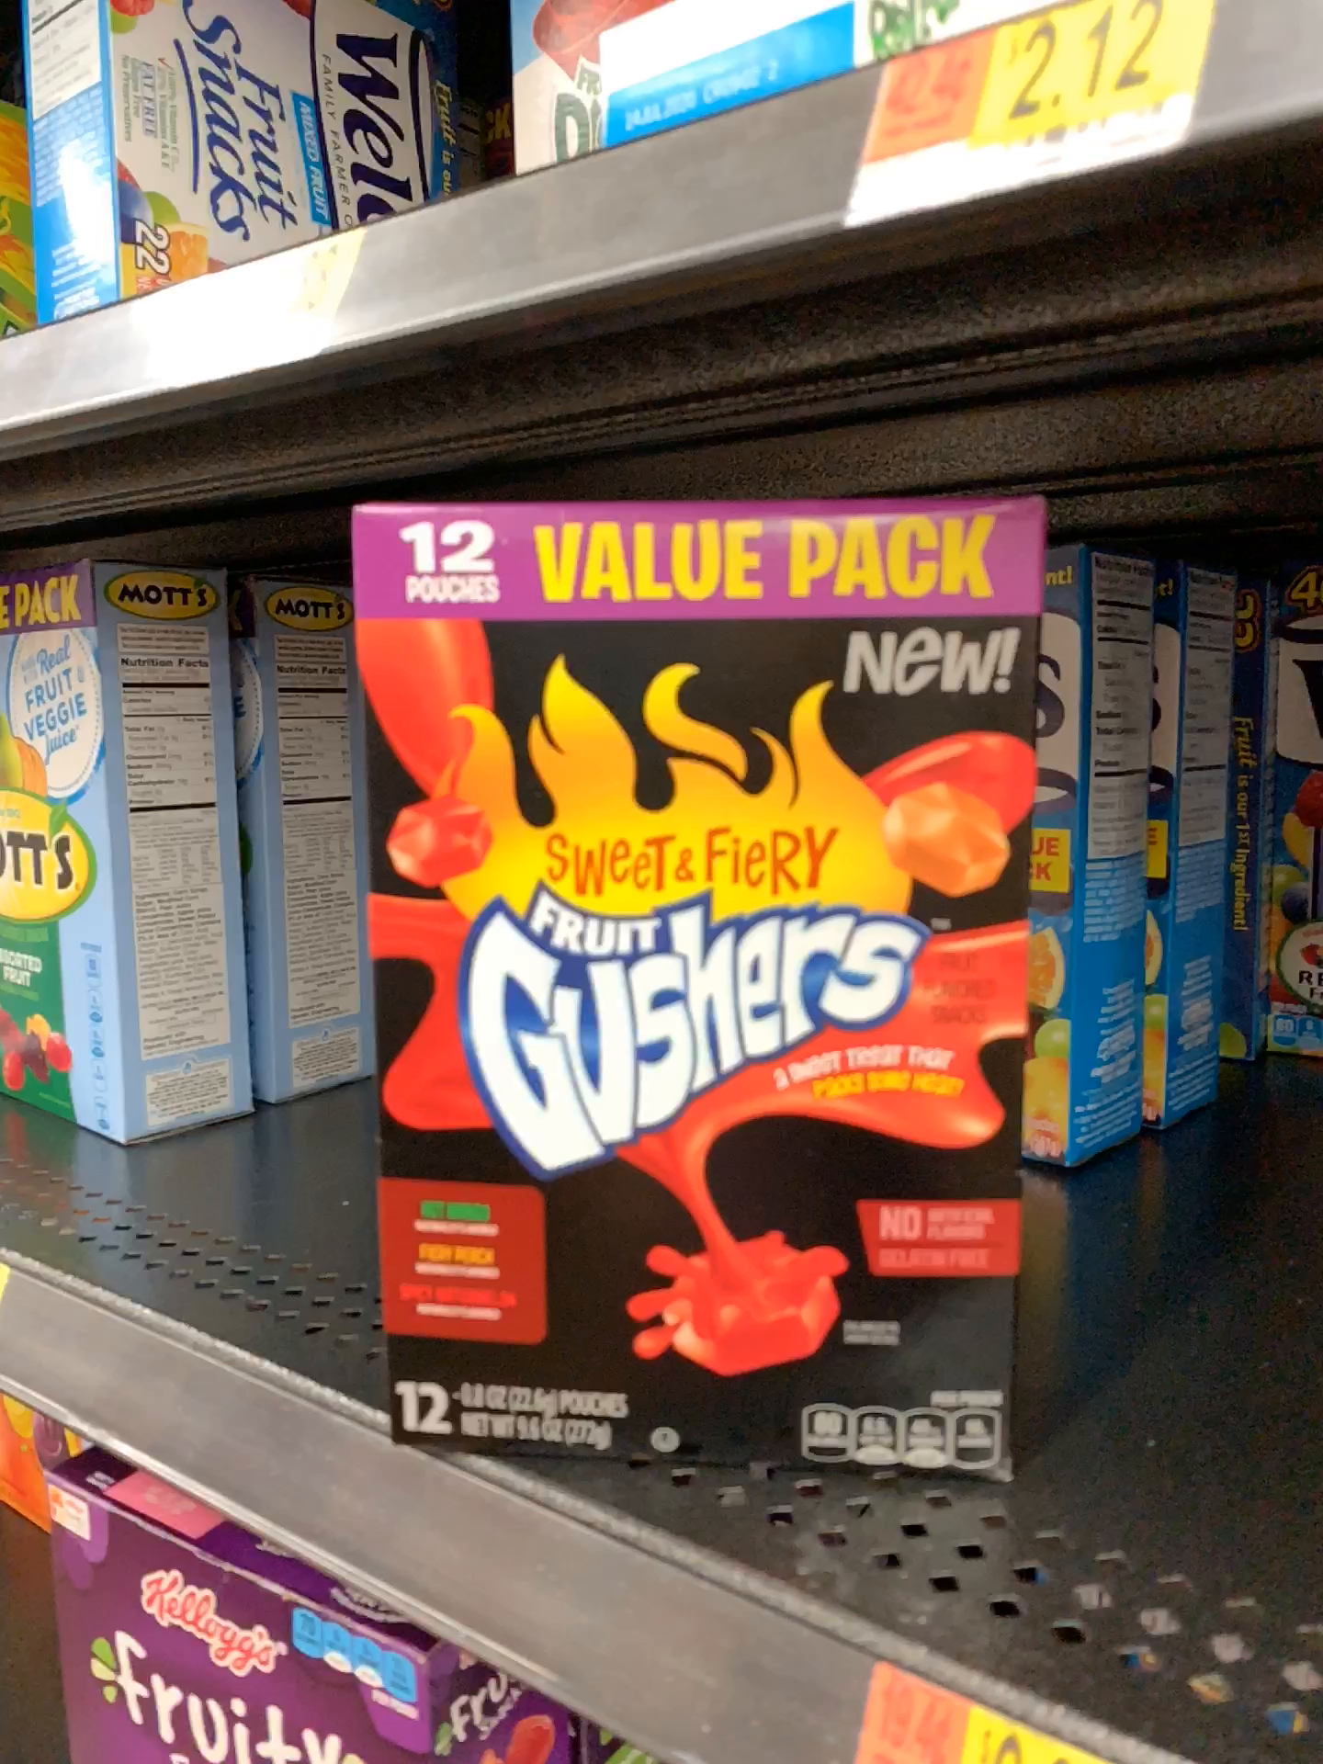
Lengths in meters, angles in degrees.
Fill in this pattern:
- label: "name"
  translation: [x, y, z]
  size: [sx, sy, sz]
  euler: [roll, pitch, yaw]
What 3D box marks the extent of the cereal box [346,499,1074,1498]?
- label: "cereal box"
  translation: [0.012, 0.027, 0.321]
  size: [0.150, 0.219, 0.050]
  euler: [0, 10, 6]
